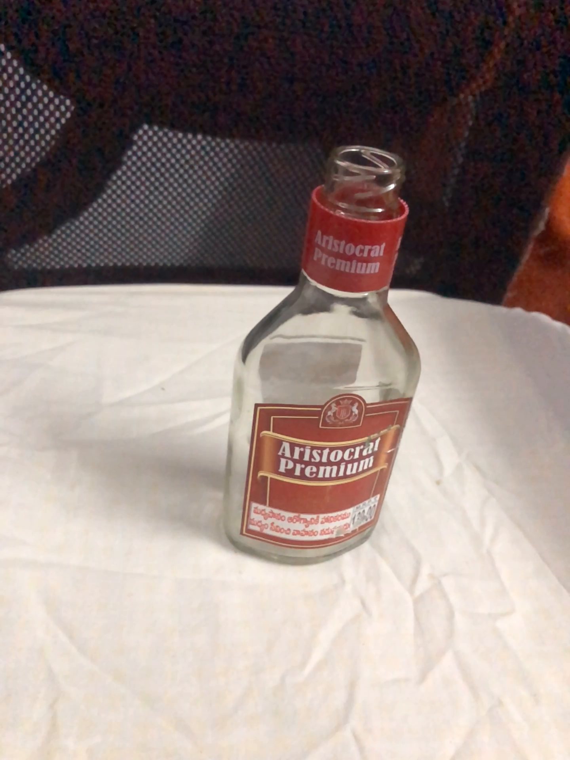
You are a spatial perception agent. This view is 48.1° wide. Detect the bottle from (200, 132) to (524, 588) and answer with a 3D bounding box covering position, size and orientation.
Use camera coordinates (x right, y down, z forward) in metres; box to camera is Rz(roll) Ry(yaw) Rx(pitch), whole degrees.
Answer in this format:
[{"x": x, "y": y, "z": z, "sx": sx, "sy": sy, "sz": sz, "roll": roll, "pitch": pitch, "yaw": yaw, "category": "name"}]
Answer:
[{"x": 0.015, "y": 0.006, "z": 0.246, "sx": 0.080, "sy": 0.179, "sz": 0.040, "roll": -1, "pitch": 38, "yaw": -14, "category": "bottle"}]
